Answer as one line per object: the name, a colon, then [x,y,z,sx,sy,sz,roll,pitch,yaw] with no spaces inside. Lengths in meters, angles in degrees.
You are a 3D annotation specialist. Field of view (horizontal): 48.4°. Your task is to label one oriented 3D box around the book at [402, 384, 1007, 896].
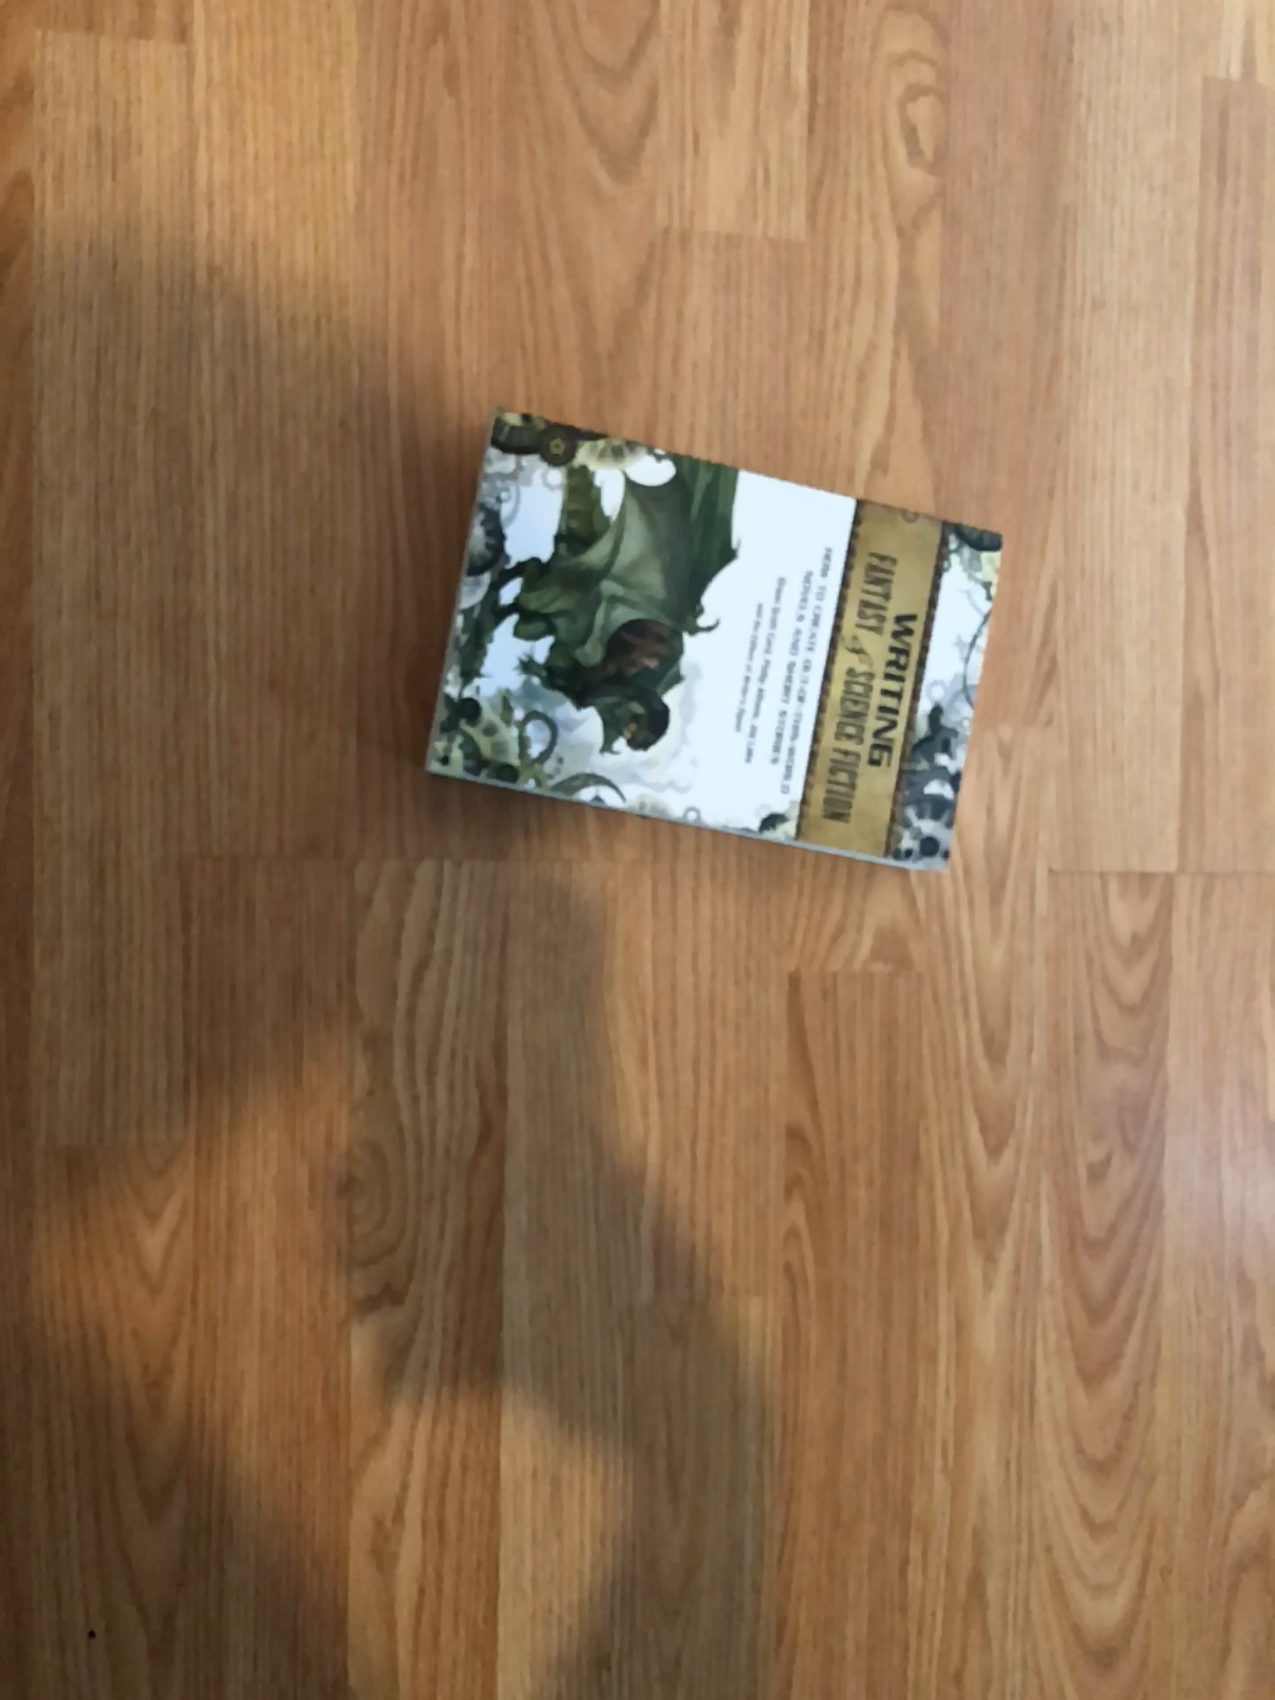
book: [0.030,-0.082,0.601,0.228,0.040,0.165,10,90,-13]
